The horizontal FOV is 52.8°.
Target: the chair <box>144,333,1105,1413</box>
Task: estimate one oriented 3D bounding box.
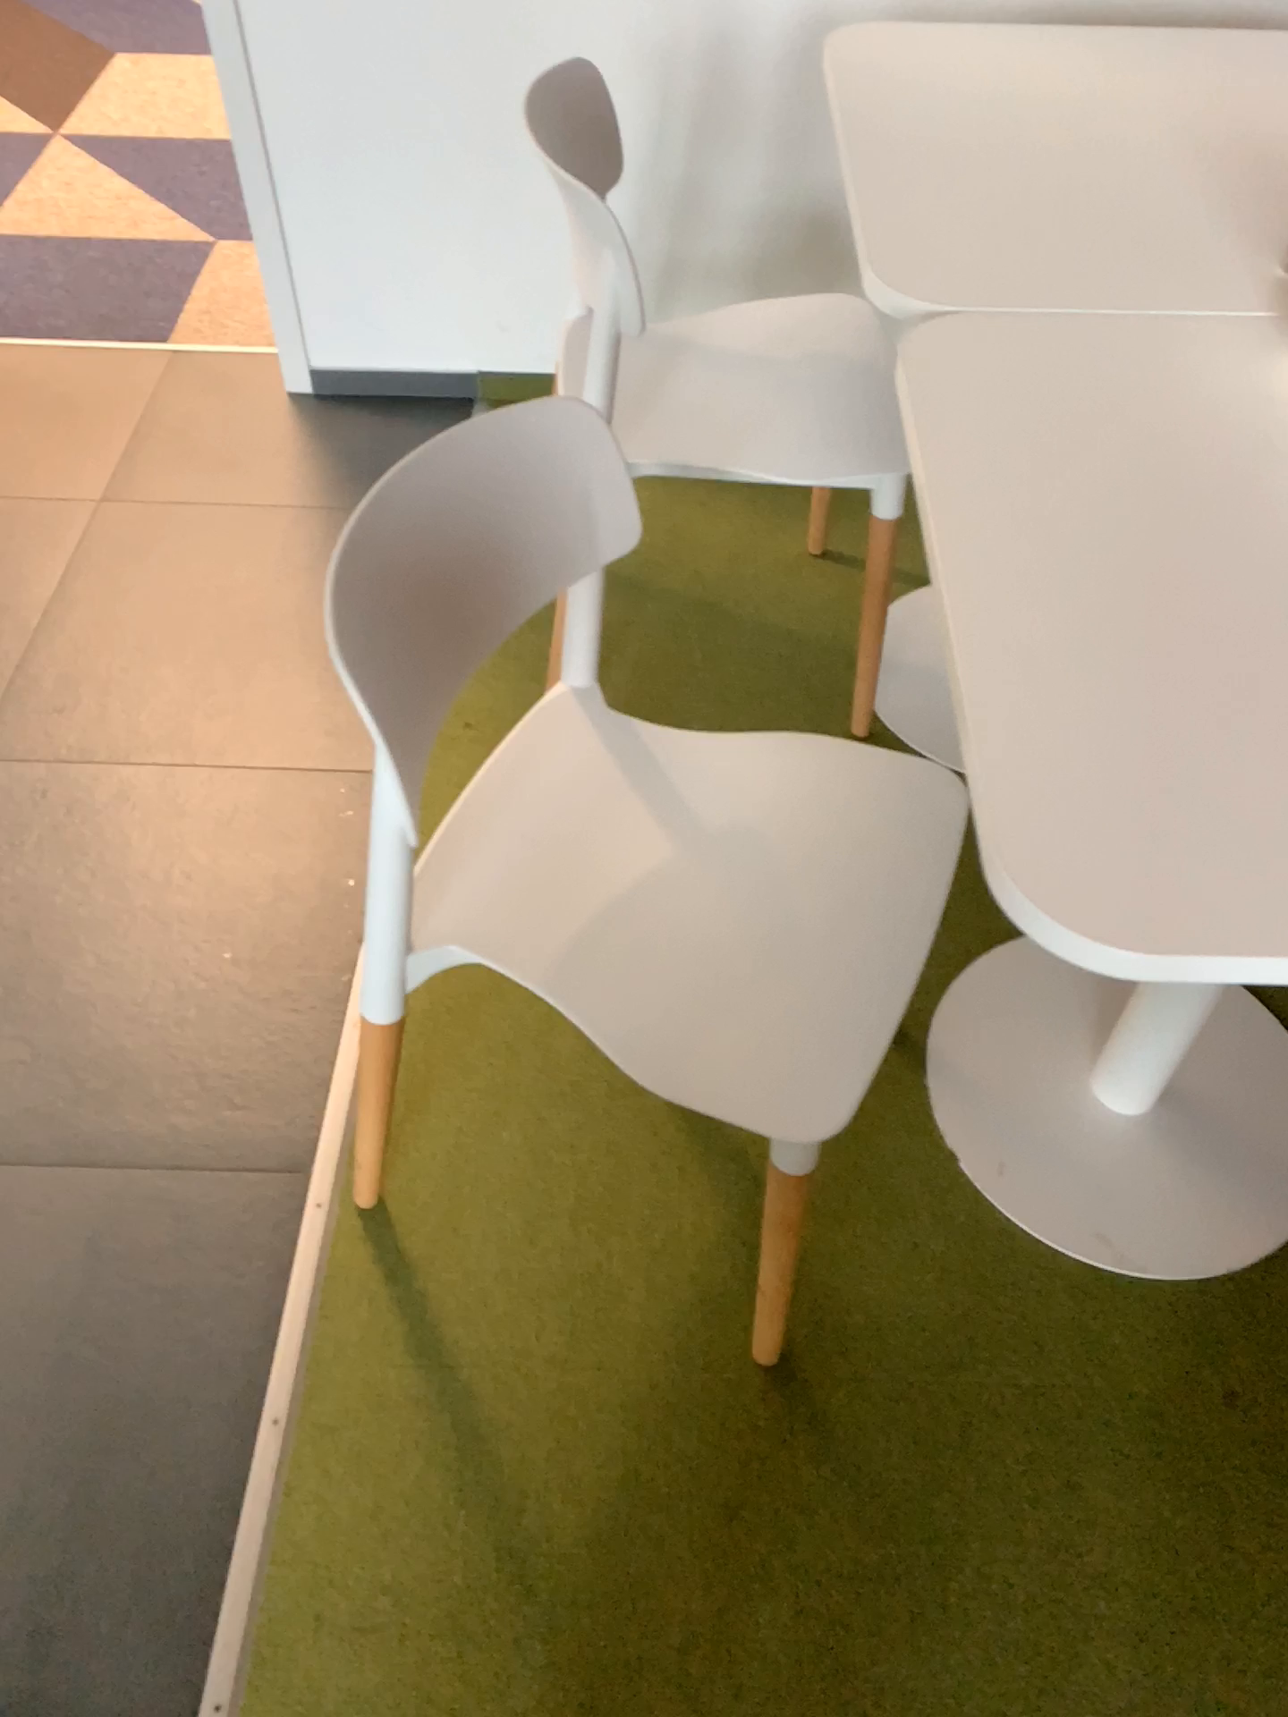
[{"bbox_3d":[0.011,0.044,1.200,0.500,0.747,0.512,21,53,16],"label":"chair"}]

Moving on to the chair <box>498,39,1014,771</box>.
[{"bbox_3d":[0.088,-0.584,1.739,0.510,0.727,0.562,-3,51,-3],"label":"chair"}]
